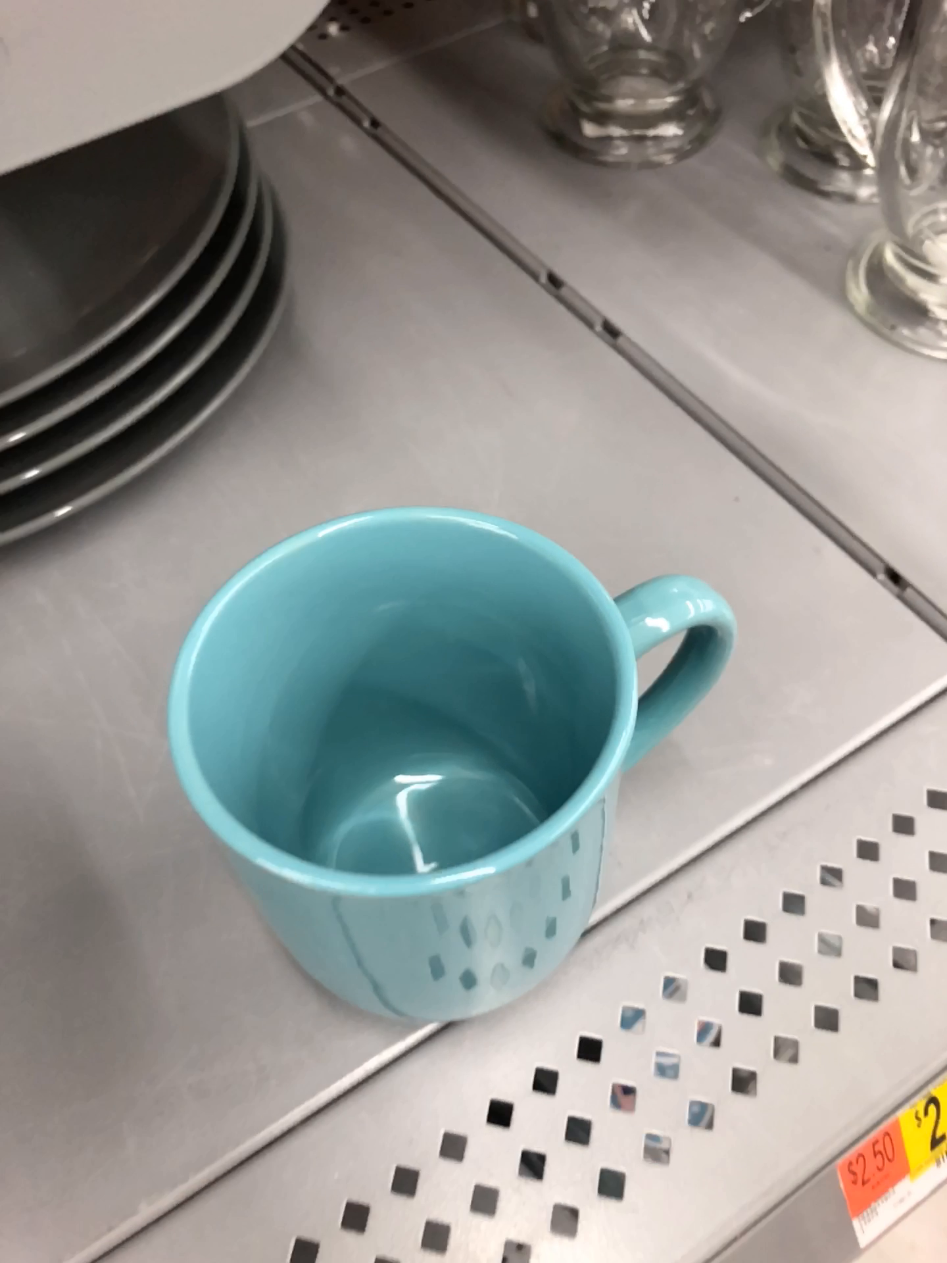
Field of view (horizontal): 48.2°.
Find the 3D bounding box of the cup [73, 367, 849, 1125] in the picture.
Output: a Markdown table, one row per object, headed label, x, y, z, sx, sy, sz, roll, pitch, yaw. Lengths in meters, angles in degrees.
| label | x | y | z | sx | sy | sz | roll | pitch | yaw |
| --- | --- | --- | --- | --- | --- | --- | --- | --- | --- |
| cup | -0.002 | 0.025 | 0.236 | 0.114 | 0.091 | 0.091 | -31 | 59 | -17 |
